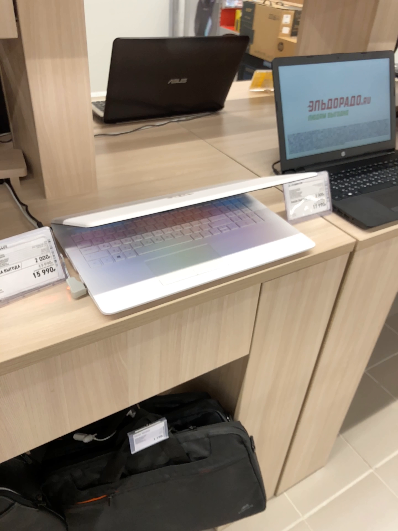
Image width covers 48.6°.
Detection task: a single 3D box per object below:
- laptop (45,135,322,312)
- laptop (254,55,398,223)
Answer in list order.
[{"bbox_3d":[-0.025,-0.094,0.714,0.368,0.103,0.233,-17,43,-27],"label":"laptop"},{"bbox_3d":[0.391,-0.305,0.957,0.392,0.219,0.350,-16,39,-29],"label":"laptop"}]
